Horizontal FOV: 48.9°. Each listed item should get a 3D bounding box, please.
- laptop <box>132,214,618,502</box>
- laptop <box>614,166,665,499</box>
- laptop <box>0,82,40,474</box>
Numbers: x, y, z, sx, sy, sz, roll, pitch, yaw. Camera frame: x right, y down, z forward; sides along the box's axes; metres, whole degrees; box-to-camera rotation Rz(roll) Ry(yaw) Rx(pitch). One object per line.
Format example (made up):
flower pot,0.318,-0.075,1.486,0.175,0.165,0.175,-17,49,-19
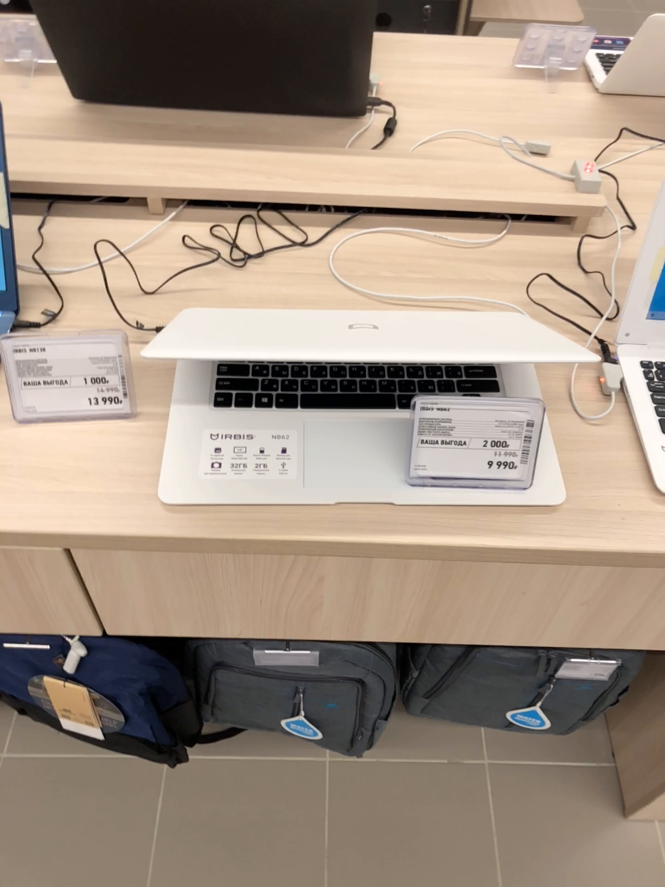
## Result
laptop,0.030,-0.077,0.637,0.350,0.115,0.224,0,53,-2
laptop,0.426,-0.099,0.639,0.263,0.168,0.231,2,51,1
laptop,-0.477,-0.156,0.650,0.309,0.162,0.320,2,51,-2
